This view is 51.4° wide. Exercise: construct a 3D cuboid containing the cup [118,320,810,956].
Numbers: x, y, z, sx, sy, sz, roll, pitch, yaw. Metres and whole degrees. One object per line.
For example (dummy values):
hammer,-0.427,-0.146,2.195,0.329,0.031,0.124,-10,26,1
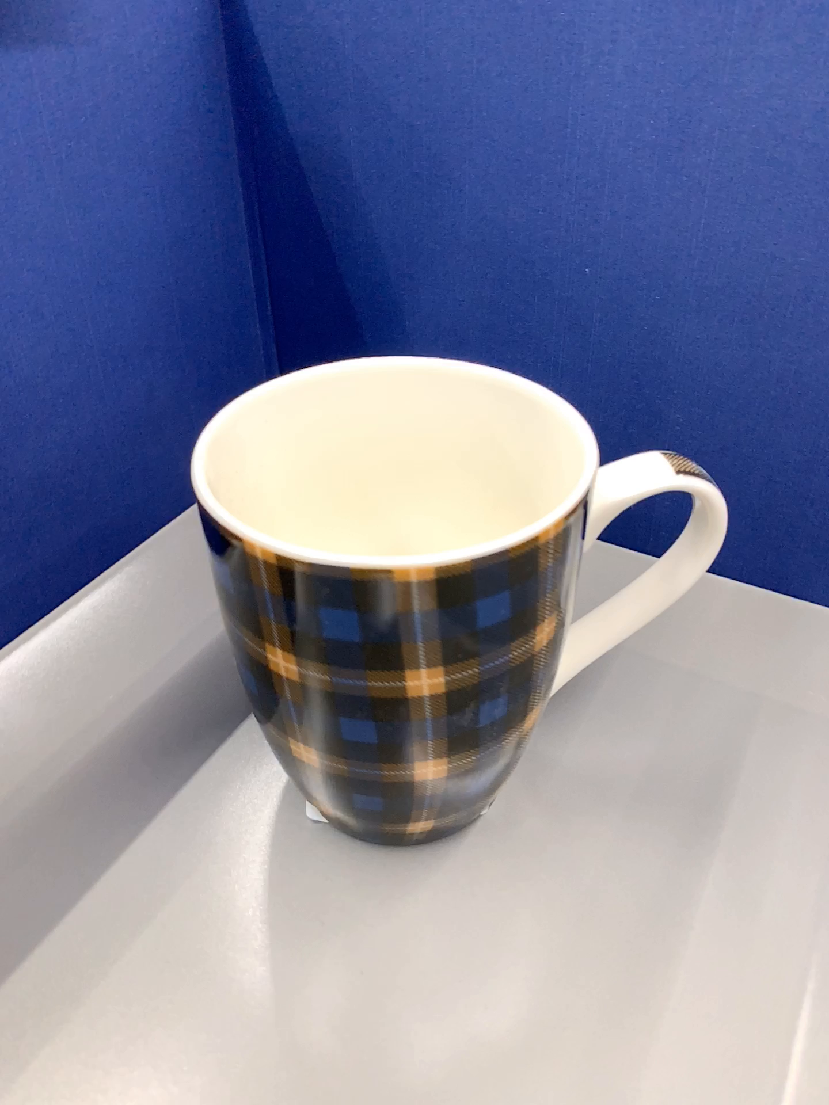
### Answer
cup,0.005,0.010,0.213,0.121,0.089,0.095,-14,37,-18
